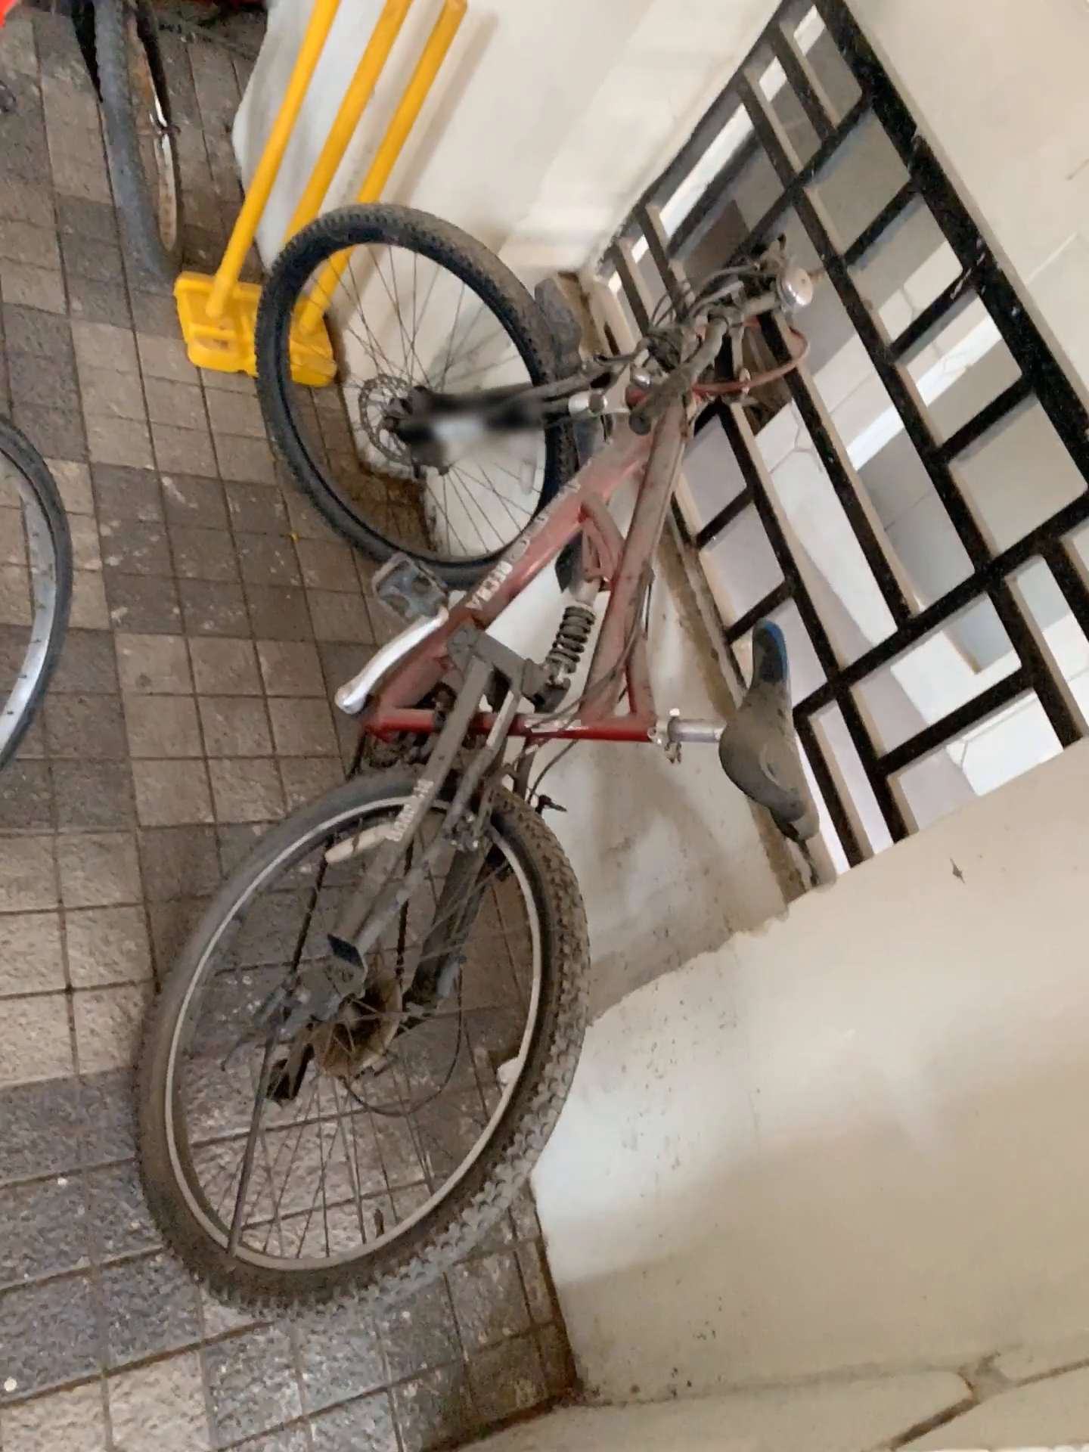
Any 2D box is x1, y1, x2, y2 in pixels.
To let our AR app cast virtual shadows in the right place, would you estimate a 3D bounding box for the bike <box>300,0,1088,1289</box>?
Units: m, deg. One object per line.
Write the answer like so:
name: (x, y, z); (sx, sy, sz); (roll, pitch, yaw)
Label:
bike: (0.159, -0.136, 1.504); (0.609, 0.831, 1.467); (12, 62, -29)
